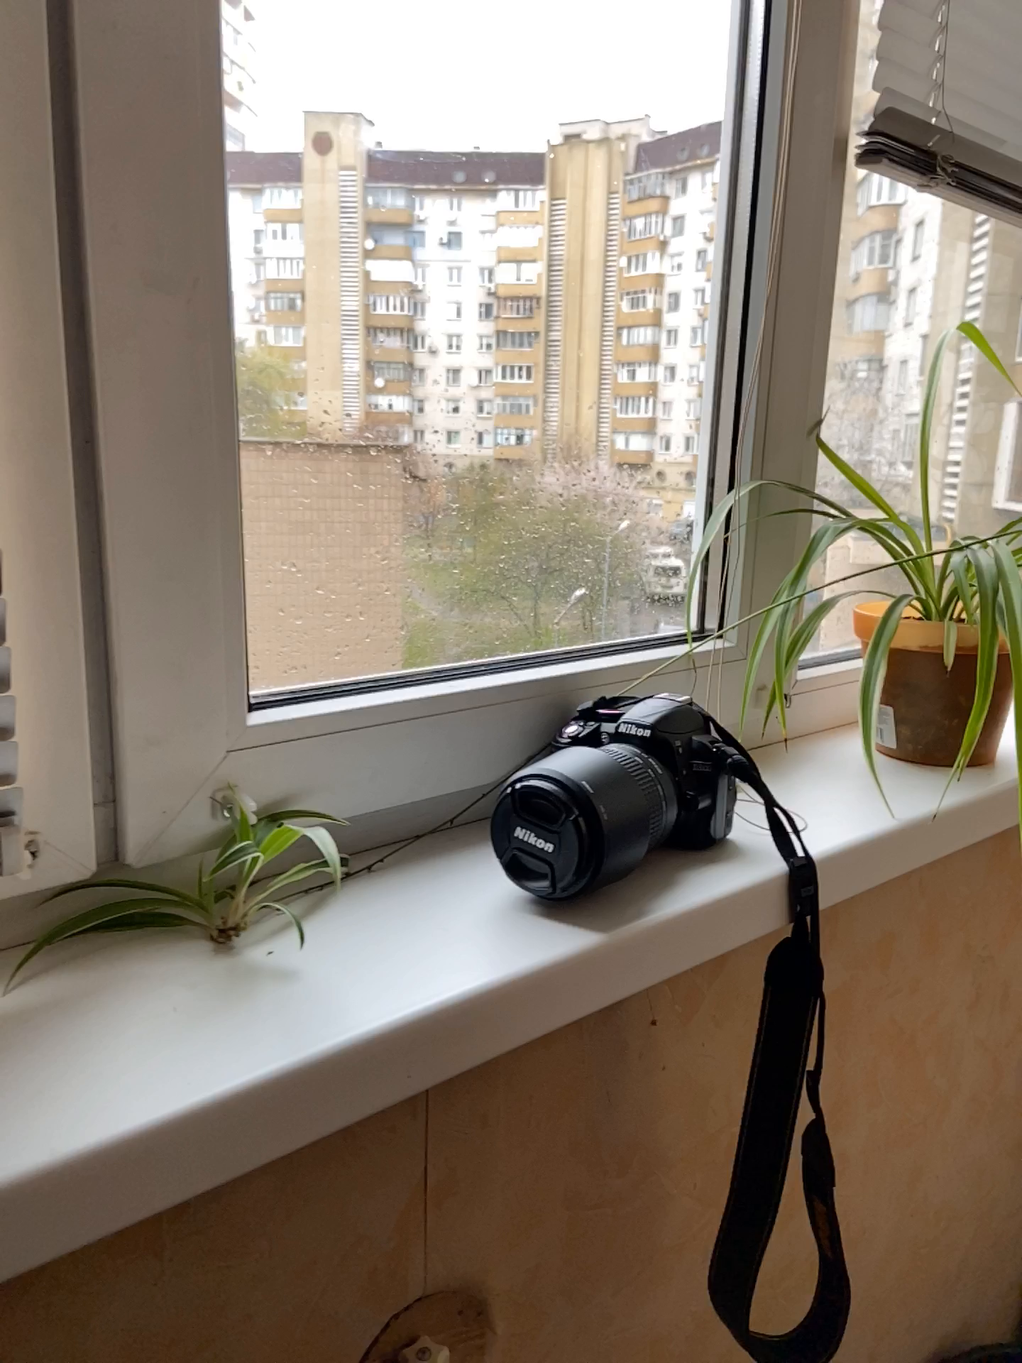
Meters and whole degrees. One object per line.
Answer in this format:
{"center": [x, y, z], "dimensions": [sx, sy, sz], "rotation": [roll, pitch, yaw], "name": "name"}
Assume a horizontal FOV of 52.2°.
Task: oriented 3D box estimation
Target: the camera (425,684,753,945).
{"center": [0.055, 0.071, 0.661], "dimensions": [0.125, 0.089, 0.191], "rotation": [10, 16, 33], "name": "camera"}
